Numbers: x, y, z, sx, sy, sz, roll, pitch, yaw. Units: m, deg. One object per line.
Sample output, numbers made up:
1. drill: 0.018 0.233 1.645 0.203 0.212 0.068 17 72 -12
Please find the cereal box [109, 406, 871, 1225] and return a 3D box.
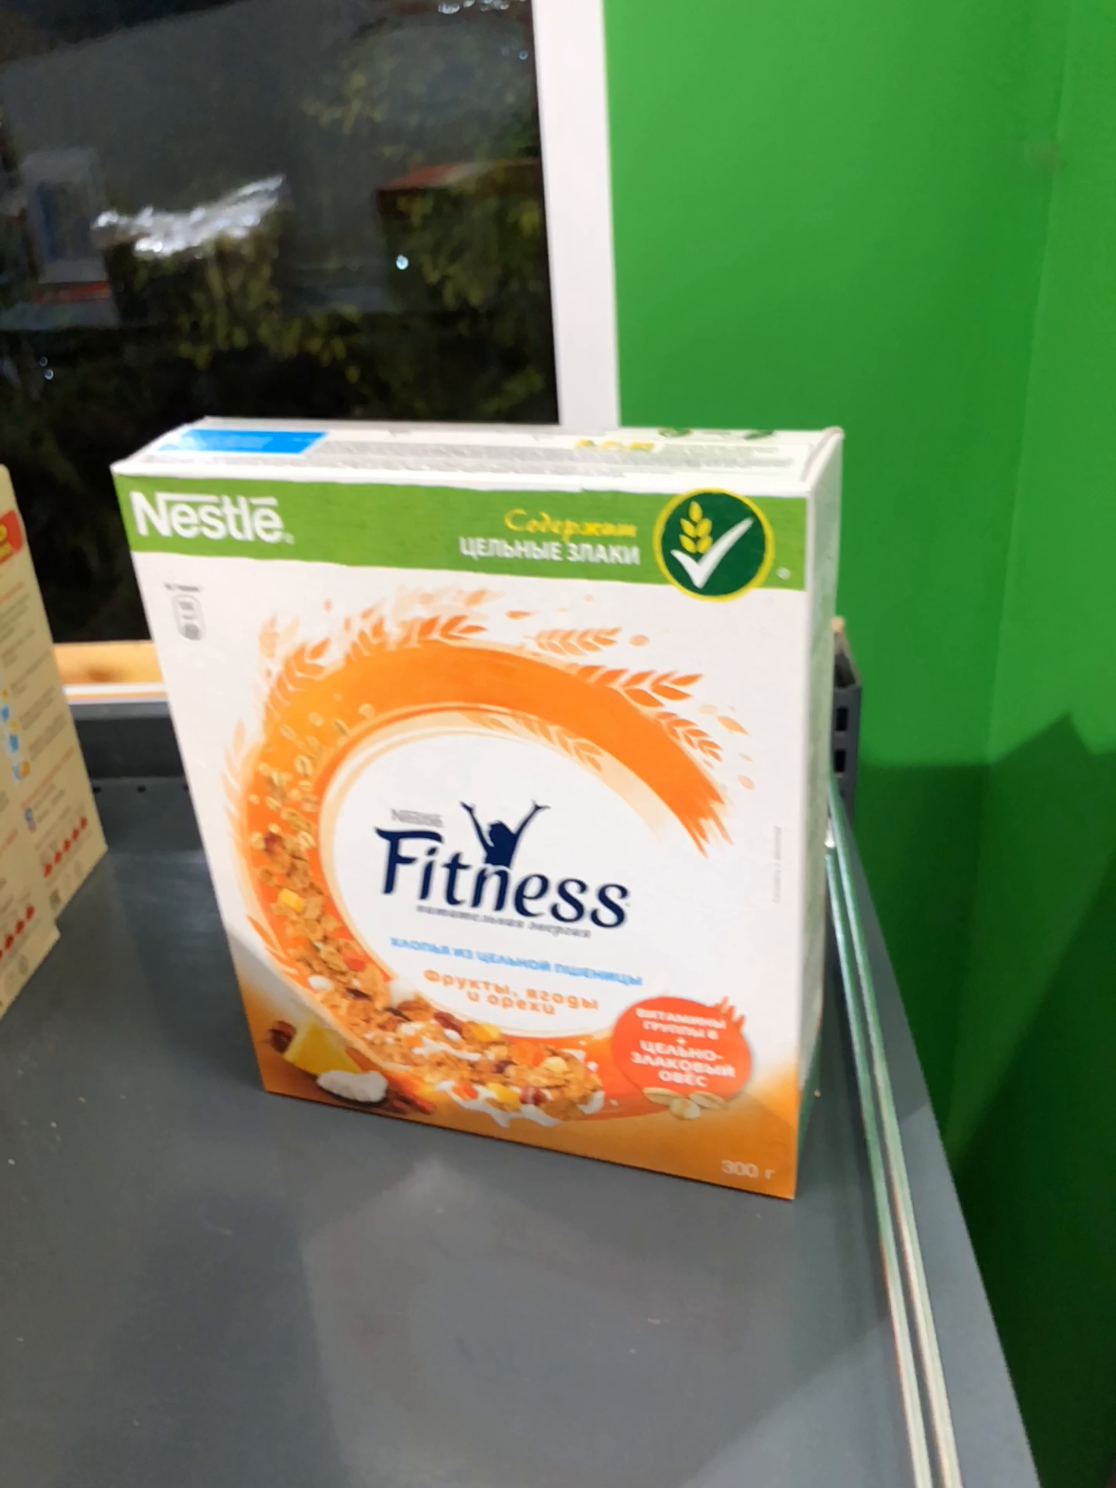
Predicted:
1. cereal box: -0.013 0.023 0.393 0.200 0.239 0.060 6 30 18
